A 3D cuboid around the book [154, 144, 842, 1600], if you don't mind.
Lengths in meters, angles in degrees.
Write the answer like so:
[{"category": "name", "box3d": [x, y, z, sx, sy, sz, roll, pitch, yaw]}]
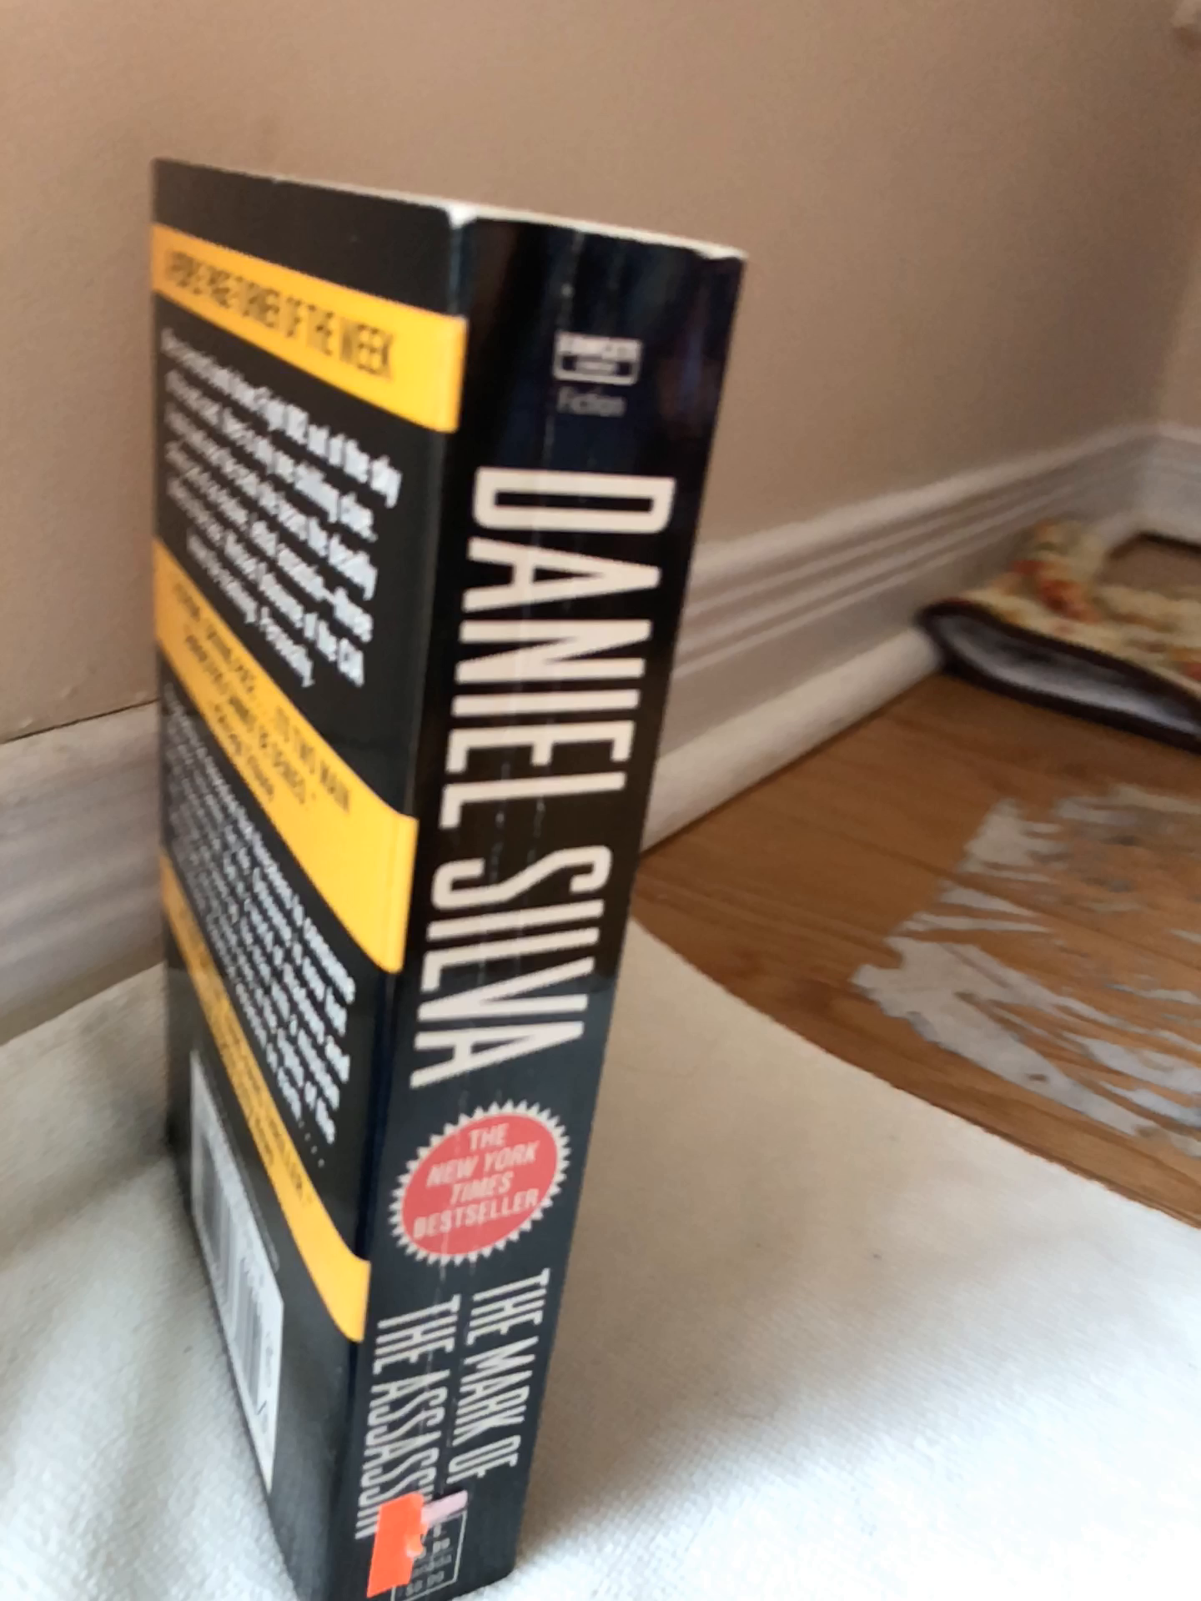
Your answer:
[{"category": "book", "box3d": [-0.033, 0.003, 0.192, 0.045, 0.169, 0.119, -3, 25, -24]}]
